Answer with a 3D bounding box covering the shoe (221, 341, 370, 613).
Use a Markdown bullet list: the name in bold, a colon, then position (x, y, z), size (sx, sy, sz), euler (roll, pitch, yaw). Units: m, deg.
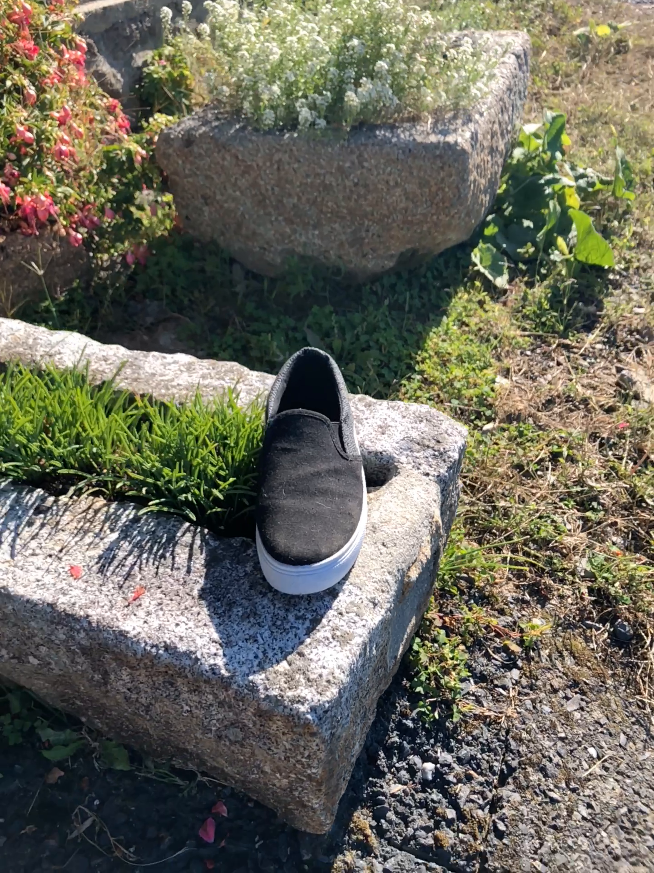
- **shoe**: position (-0.015, 0.021, 0.622), size (0.100, 0.080, 0.262), euler (-1, 38, 4)
